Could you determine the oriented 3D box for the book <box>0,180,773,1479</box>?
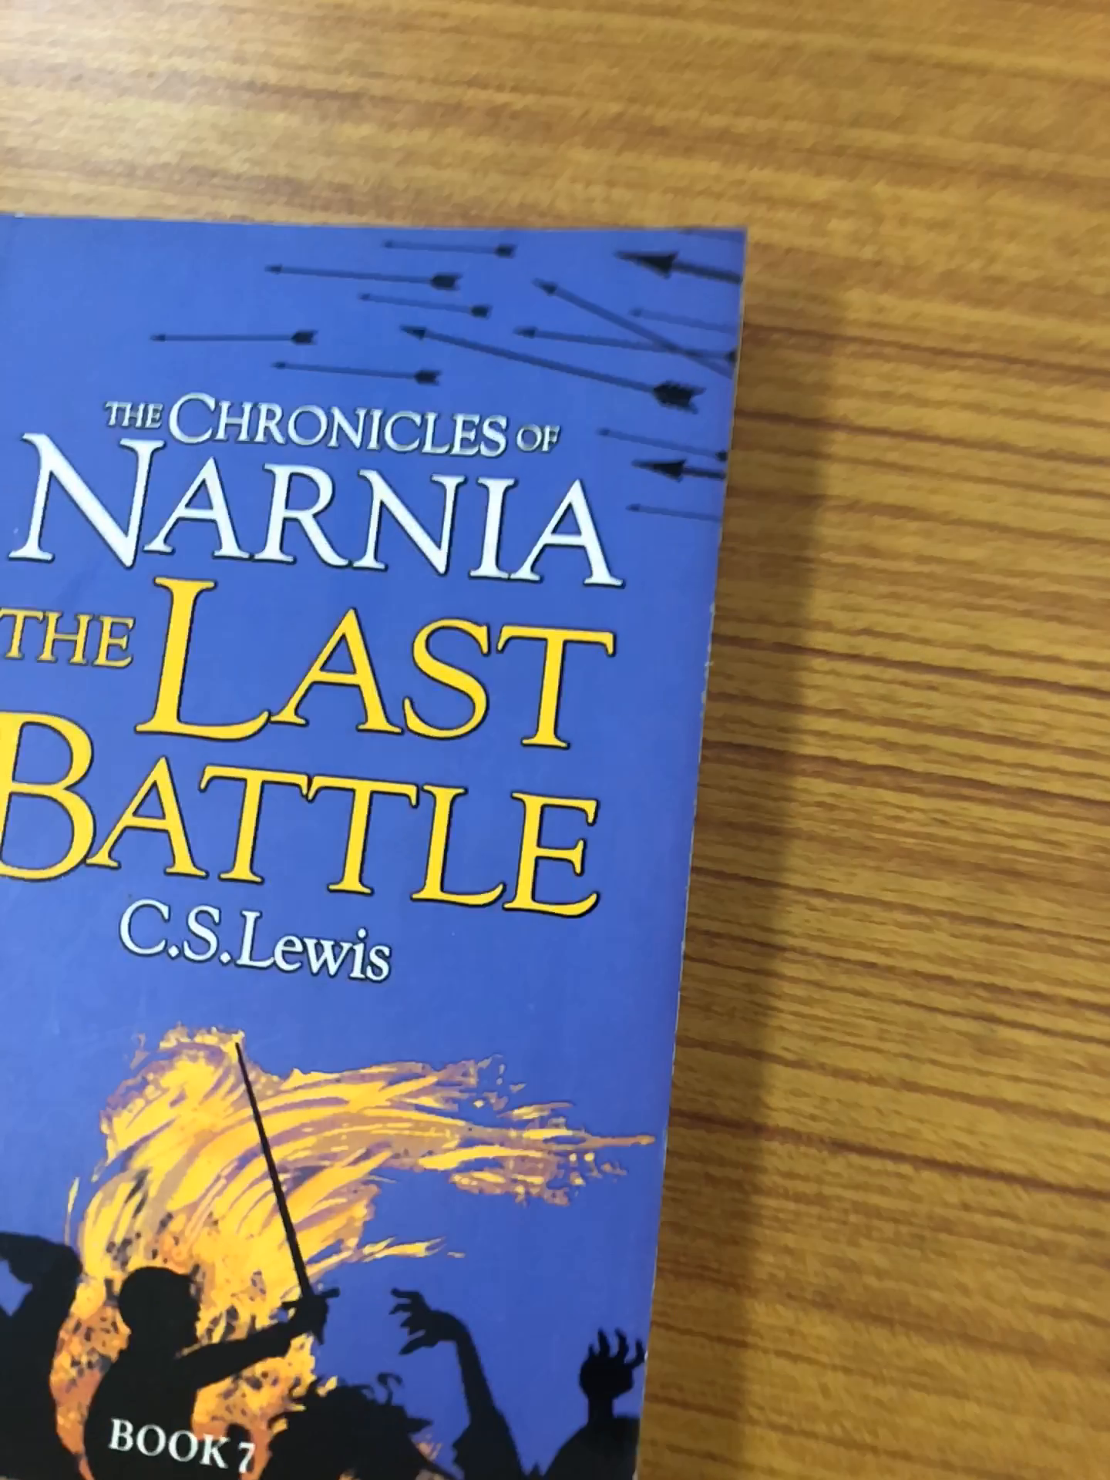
[{"bbox_3d":[-0.044,0.012,0.205,0.140,0.030,0.200,5,83,7],"label":"book"}]
